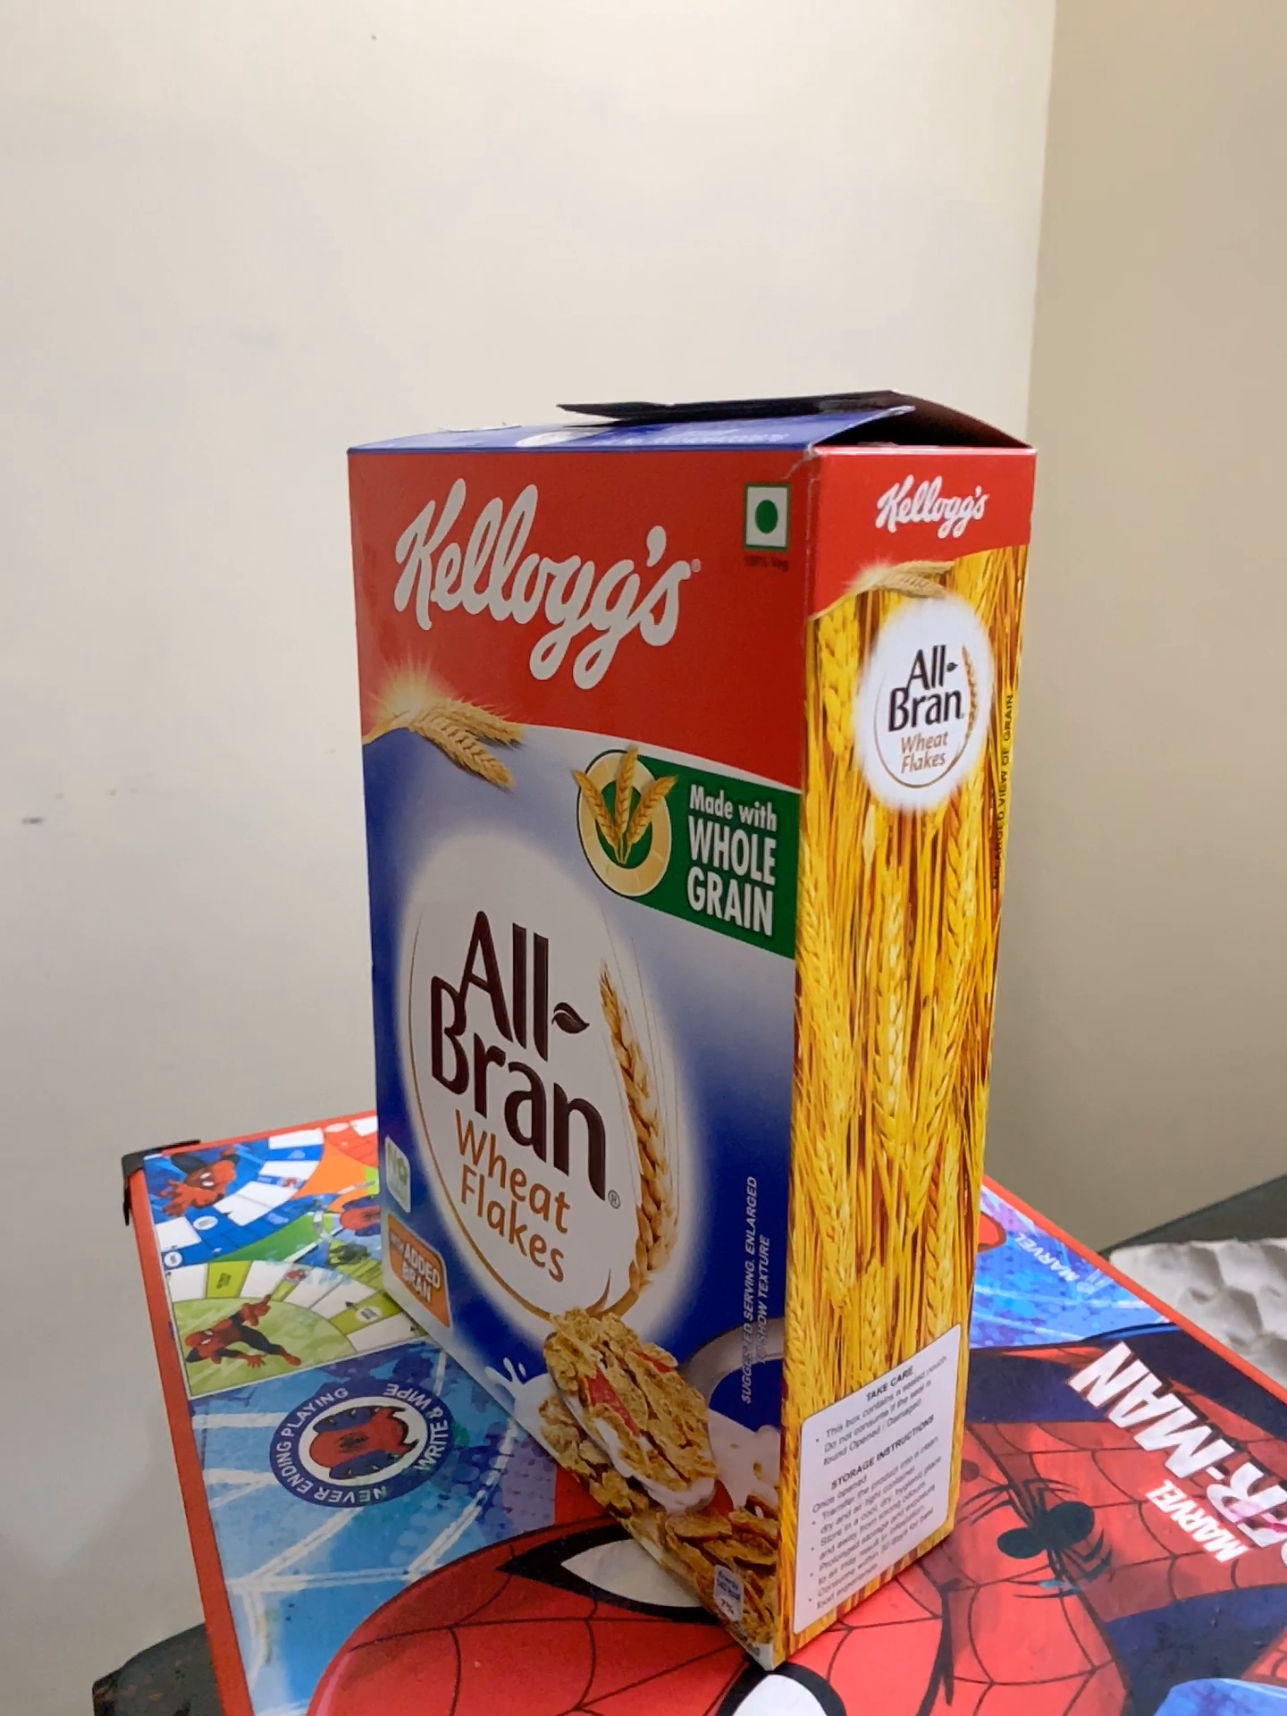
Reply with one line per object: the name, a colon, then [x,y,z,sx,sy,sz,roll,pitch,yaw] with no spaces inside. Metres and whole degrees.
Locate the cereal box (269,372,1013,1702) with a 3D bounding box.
cereal box: [-0.016,0.021,0.323,0.060,0.249,0.191,-11,19,-36]
